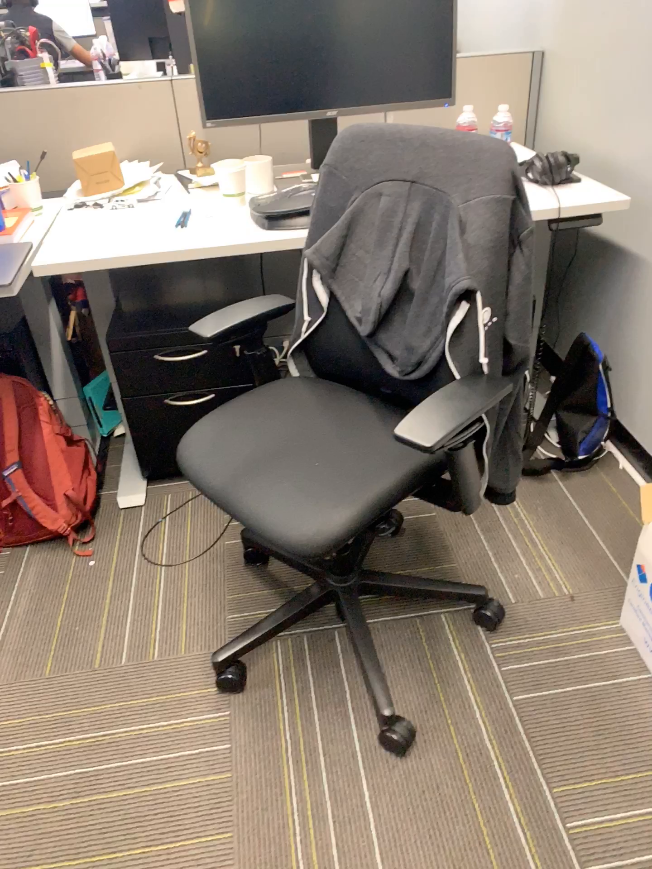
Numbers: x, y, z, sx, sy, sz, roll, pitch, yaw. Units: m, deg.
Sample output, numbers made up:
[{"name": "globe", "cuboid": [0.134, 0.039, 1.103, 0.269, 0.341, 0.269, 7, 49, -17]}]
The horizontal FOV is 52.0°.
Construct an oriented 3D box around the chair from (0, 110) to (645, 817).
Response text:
[{"name": "chair", "cuboid": [0.044, -0.021, 1.354, 0.682, 0.994, 0.802, 24, 43, 34]}]
